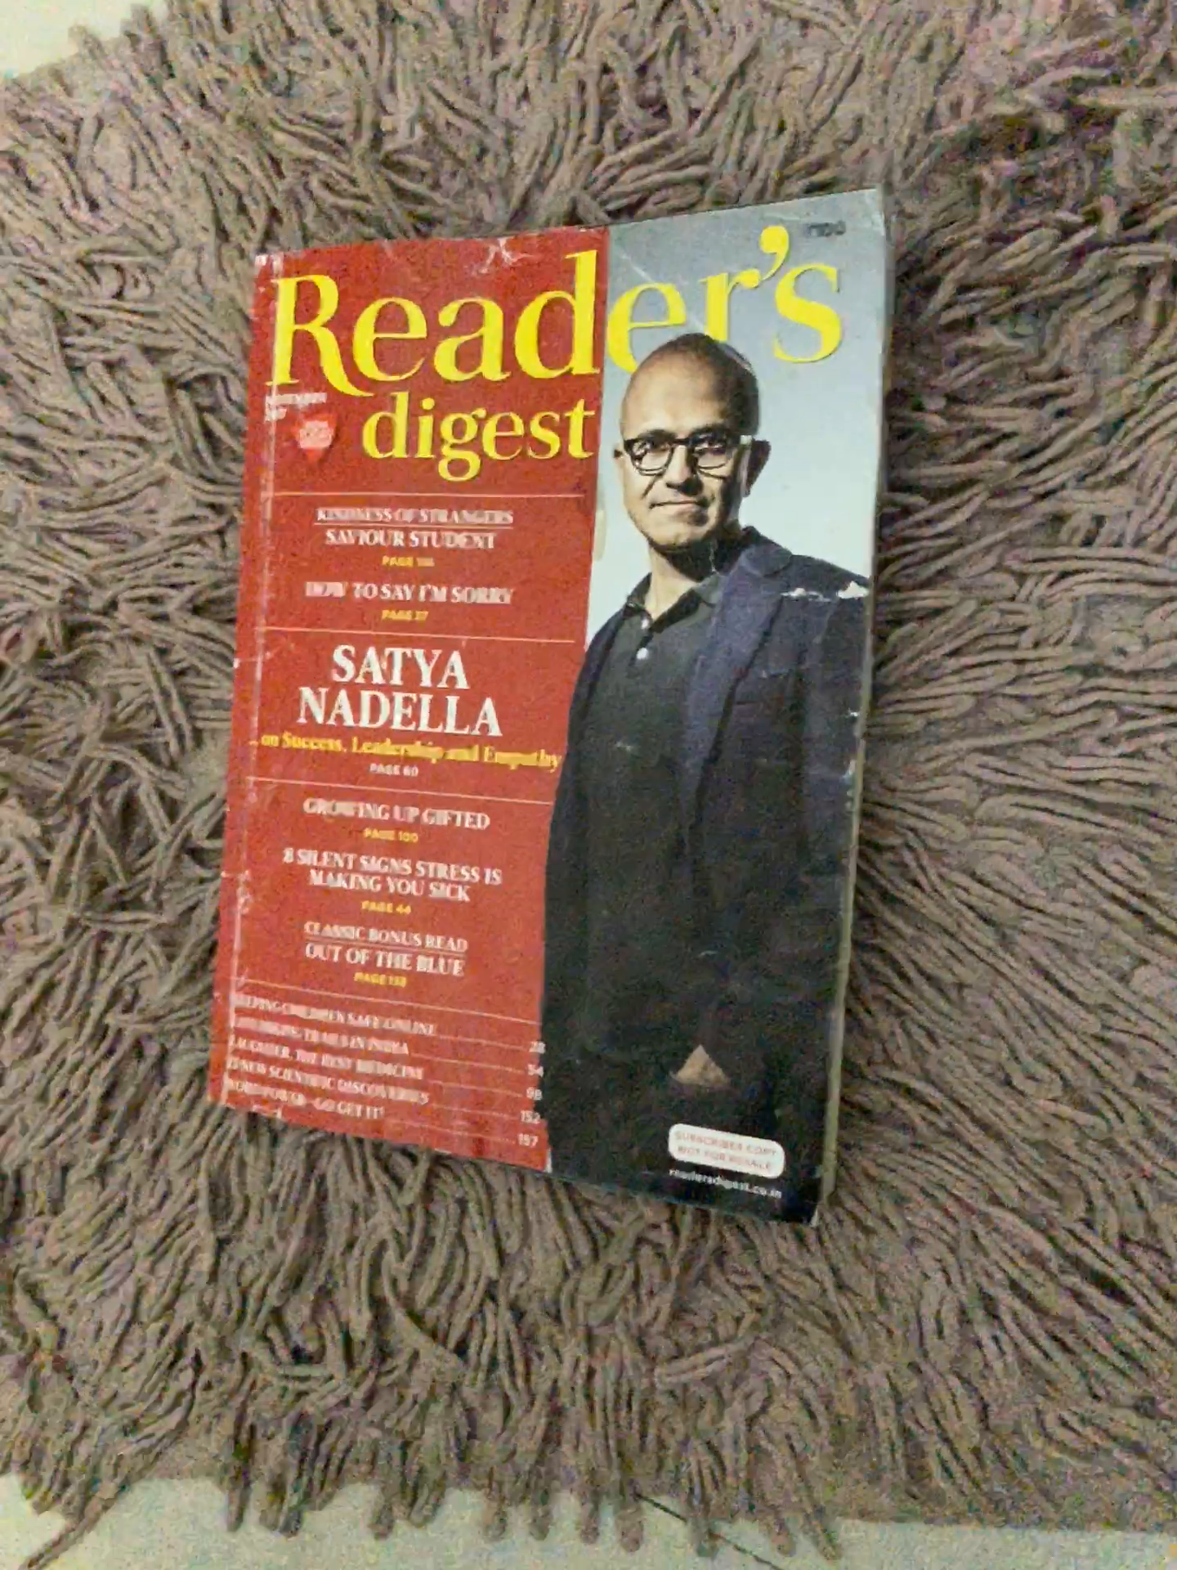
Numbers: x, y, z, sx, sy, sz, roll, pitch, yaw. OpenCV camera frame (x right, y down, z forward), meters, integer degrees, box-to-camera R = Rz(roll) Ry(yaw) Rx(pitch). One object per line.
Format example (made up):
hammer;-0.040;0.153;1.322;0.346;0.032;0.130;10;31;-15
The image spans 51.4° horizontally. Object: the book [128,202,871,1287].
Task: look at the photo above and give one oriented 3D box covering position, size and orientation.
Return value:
book;-0.021;-0.011;0.233;0.130;0.020;0.180;5;92;19
